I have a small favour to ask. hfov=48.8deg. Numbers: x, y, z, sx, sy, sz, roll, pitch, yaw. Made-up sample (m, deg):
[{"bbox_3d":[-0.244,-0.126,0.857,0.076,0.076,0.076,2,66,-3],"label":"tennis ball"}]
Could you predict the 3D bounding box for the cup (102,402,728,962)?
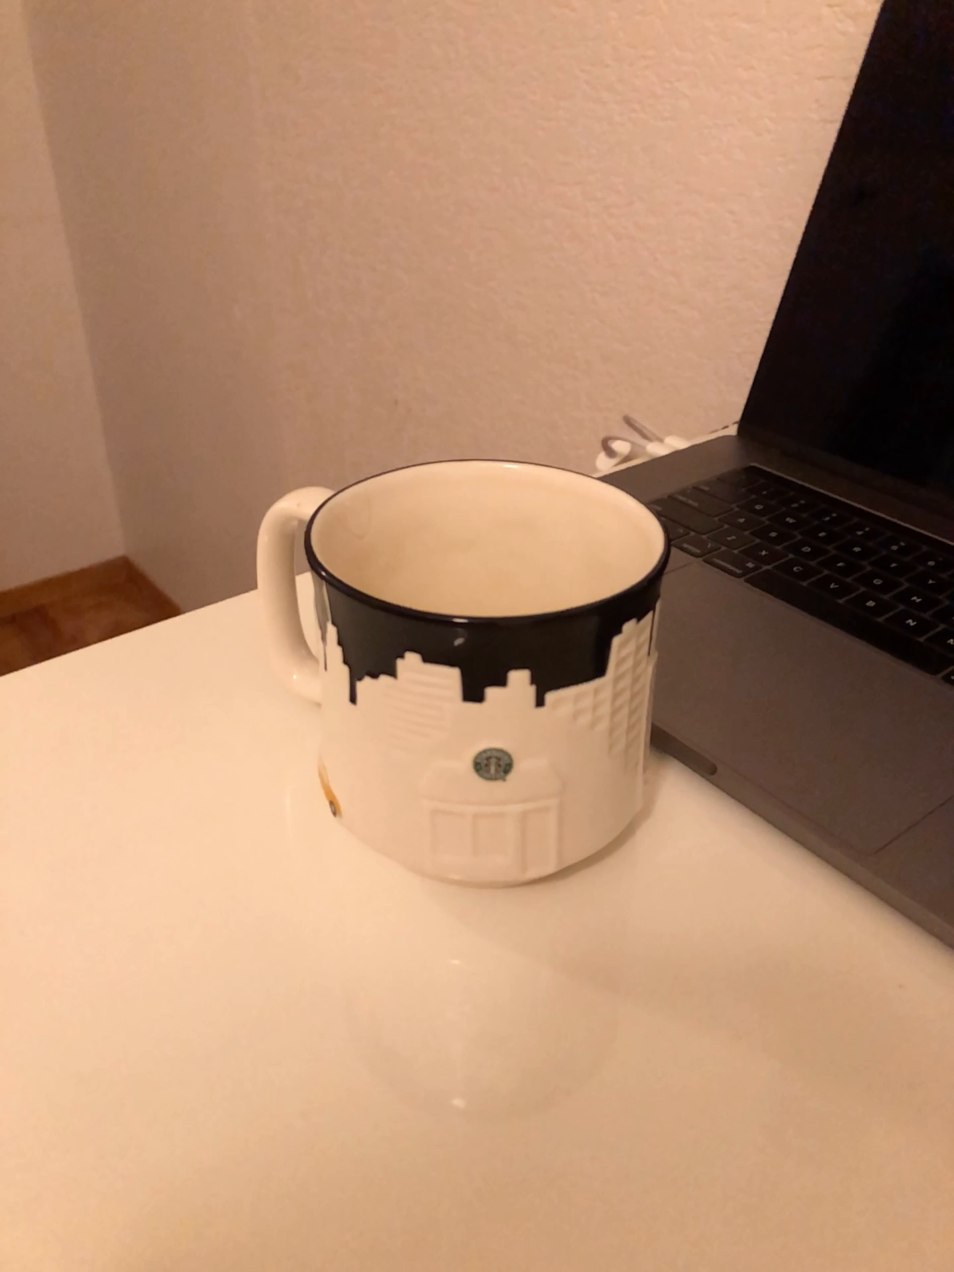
[{"bbox_3d":[-0.016,0.002,0.338,0.150,0.099,0.110,18,36,27],"label":"cup"}]
